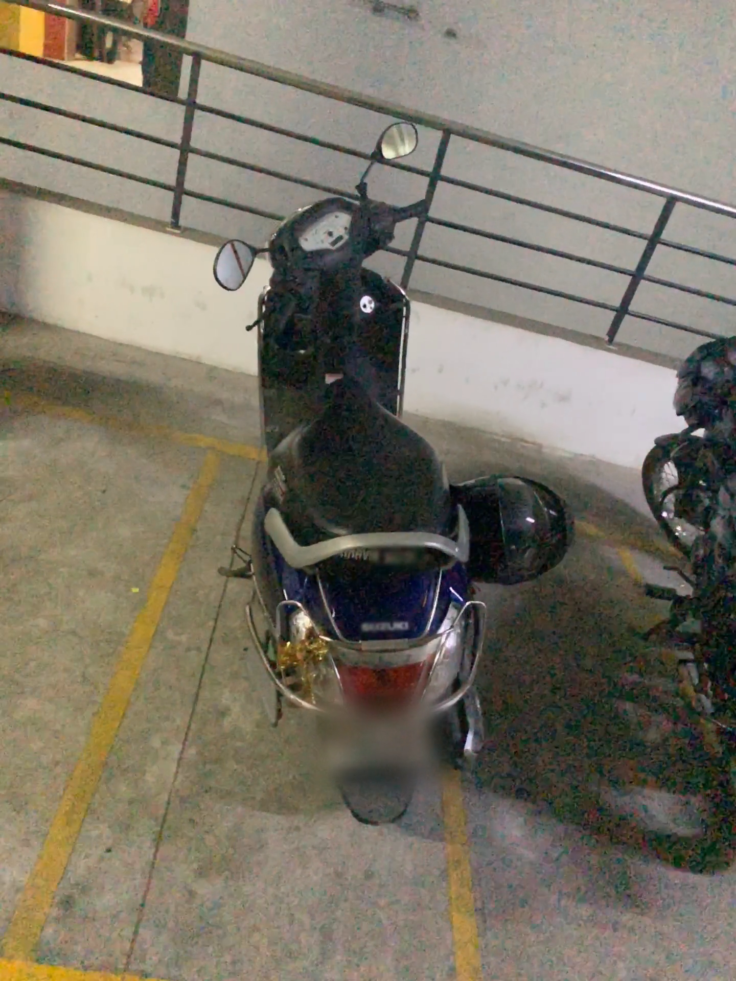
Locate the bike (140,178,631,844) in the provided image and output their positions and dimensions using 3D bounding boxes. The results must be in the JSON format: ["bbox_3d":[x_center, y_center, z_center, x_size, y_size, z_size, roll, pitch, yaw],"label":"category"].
[{"bbox_3d":[-0.199,-0.060,2.001,0.622,1.157,1.480,7,28,-18],"label":"bike"}]
